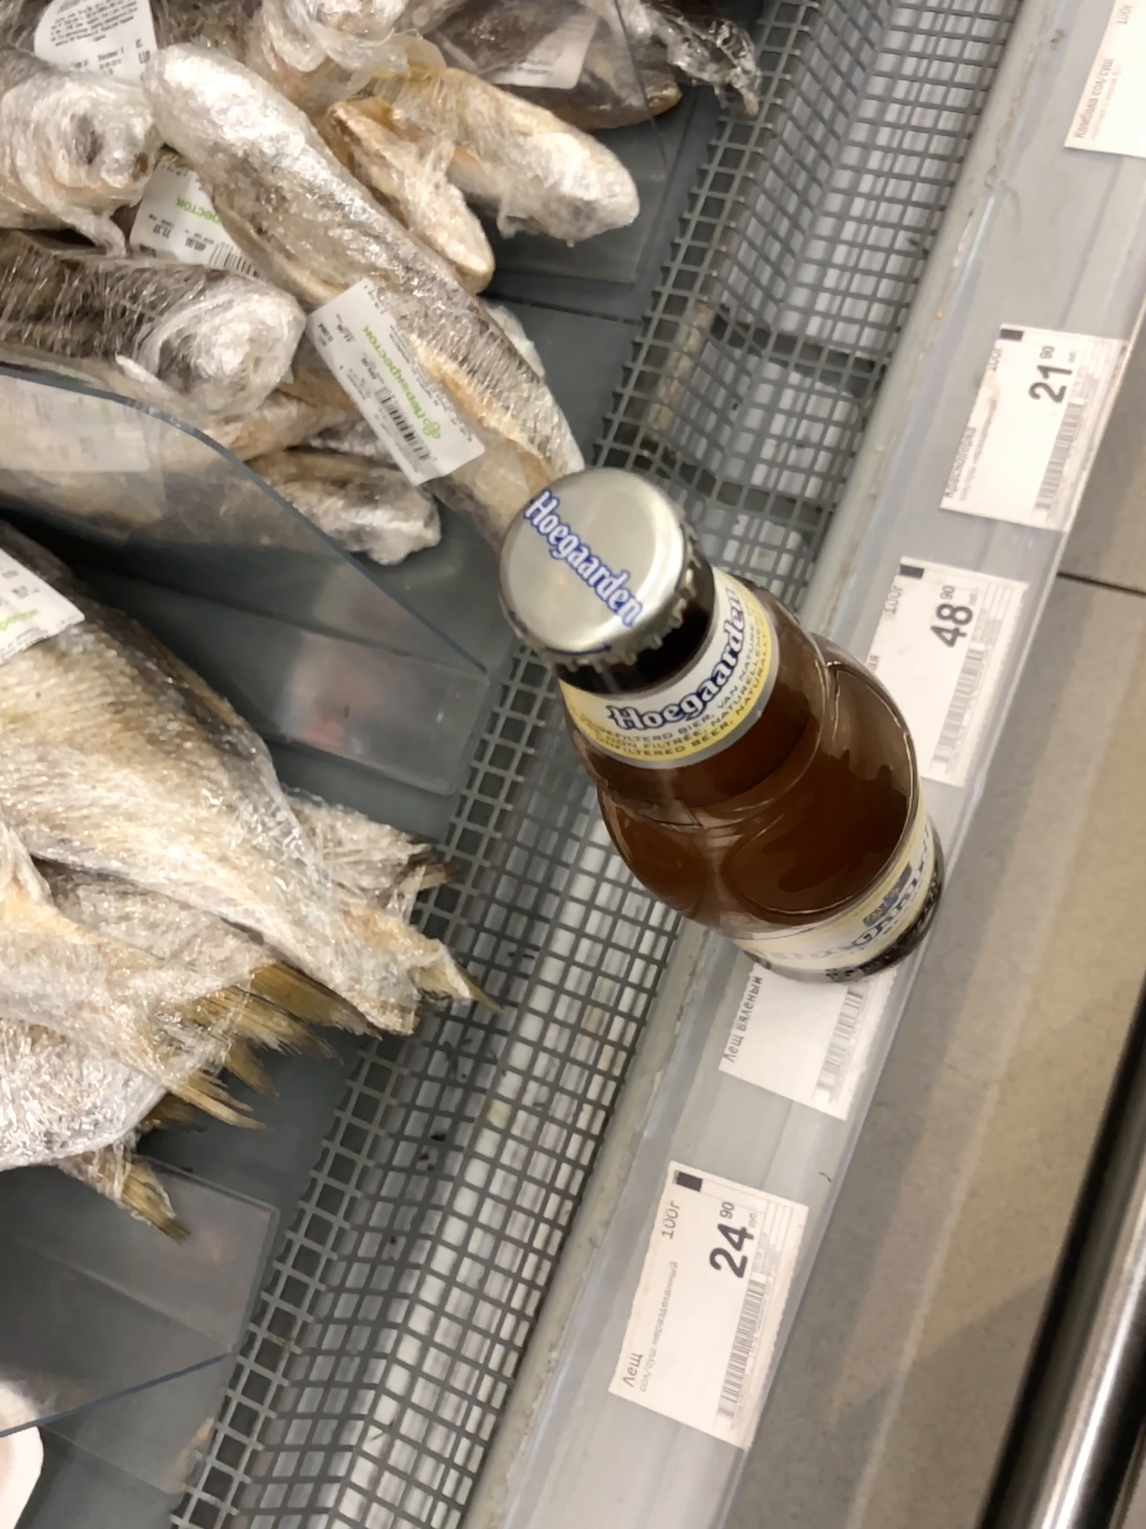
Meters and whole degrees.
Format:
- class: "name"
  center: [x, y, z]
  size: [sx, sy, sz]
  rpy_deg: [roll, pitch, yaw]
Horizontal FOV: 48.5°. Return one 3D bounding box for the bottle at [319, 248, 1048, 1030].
- class: "bottle"
  center: [0.044, 0.001, 0.274]
  size: [0.070, 0.230, 0.070]
  rpy_deg: [-4, 75, 16]
